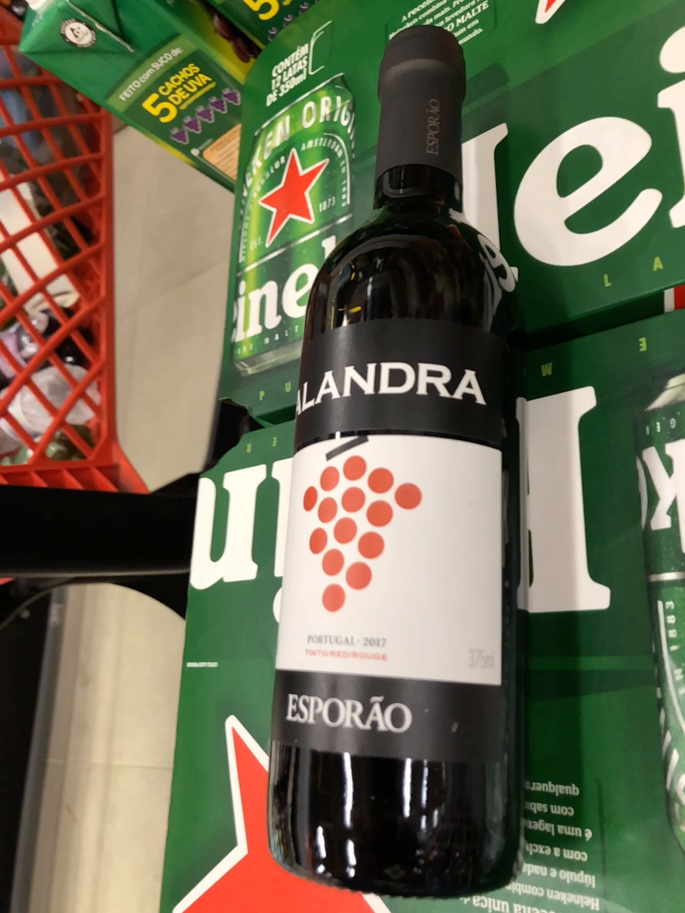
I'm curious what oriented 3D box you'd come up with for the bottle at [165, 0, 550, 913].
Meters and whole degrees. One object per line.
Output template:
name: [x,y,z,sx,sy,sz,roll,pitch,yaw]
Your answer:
bottle: [0.014,-0.023,0.194,0.060,0.060,0.240,-5,71,28]
